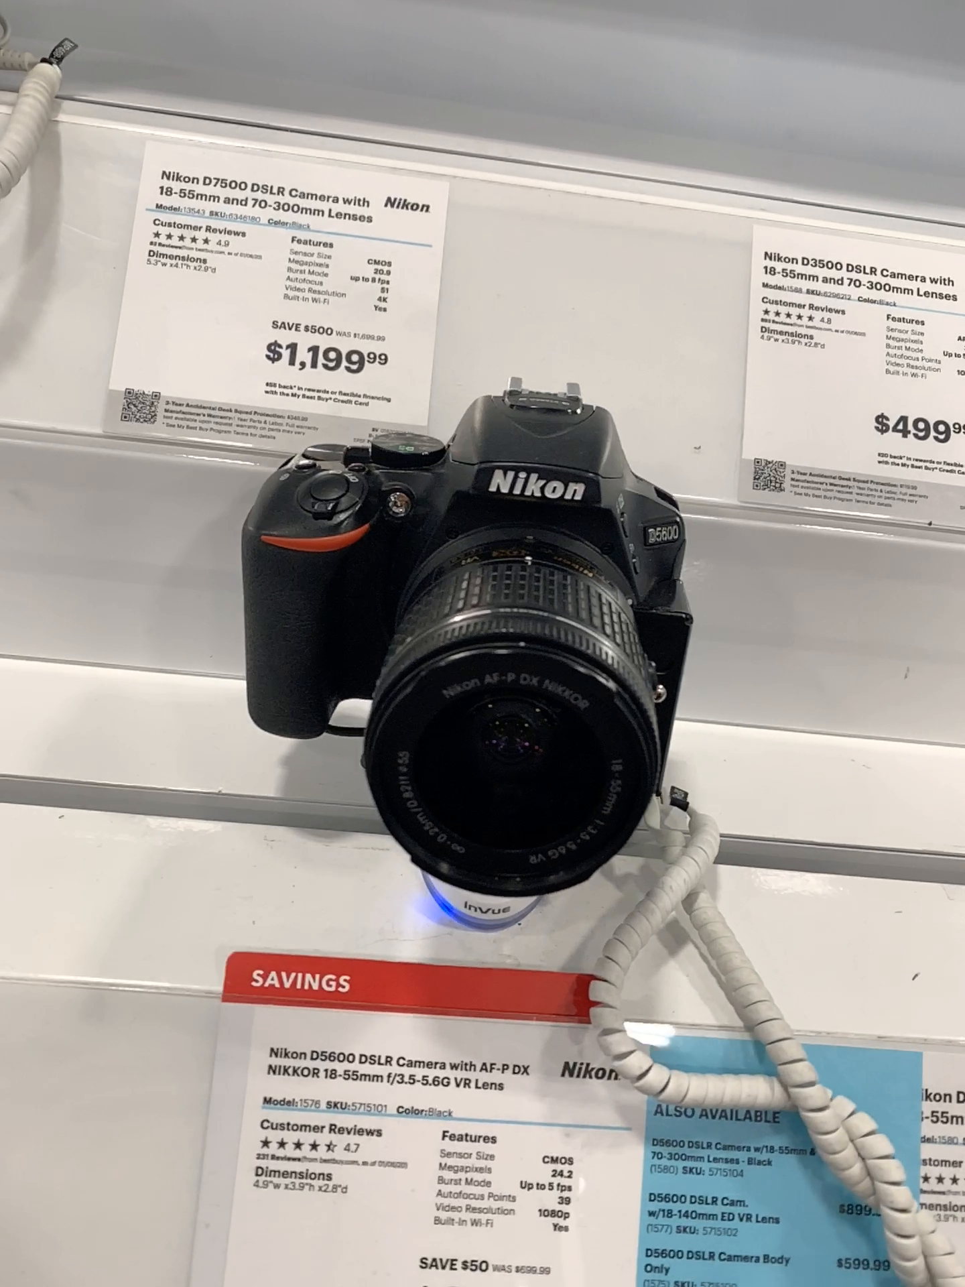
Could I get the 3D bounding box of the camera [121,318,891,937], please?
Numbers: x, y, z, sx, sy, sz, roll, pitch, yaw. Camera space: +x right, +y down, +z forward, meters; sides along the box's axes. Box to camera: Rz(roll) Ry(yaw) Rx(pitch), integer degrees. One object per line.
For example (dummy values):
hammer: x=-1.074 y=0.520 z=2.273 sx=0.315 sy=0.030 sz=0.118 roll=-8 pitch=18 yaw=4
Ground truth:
camera: x=0.001 y=-0.013 z=0.241 sx=0.130 sy=0.090 sz=0.121 roll=7 pitch=28 yaw=-2
